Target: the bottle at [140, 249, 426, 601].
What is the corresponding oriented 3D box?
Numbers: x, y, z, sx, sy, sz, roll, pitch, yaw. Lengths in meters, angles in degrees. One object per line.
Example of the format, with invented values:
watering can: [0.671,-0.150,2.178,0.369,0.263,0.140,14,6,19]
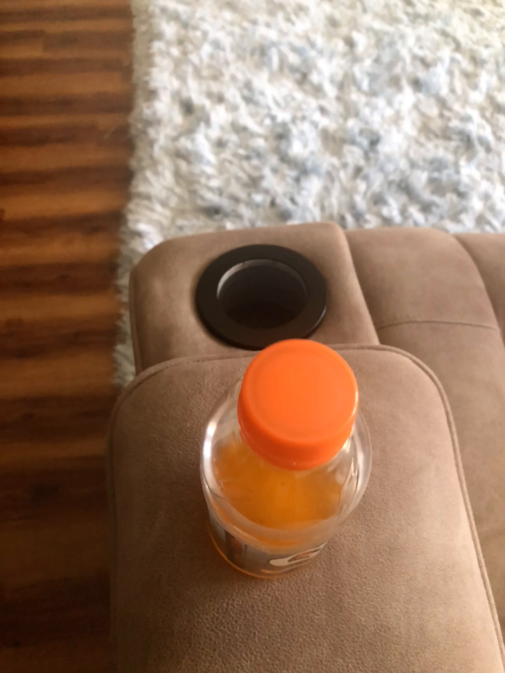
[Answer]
bottle: [0.010,0.048,0.233,0.070,0.149,0.070,1,56,-2]
